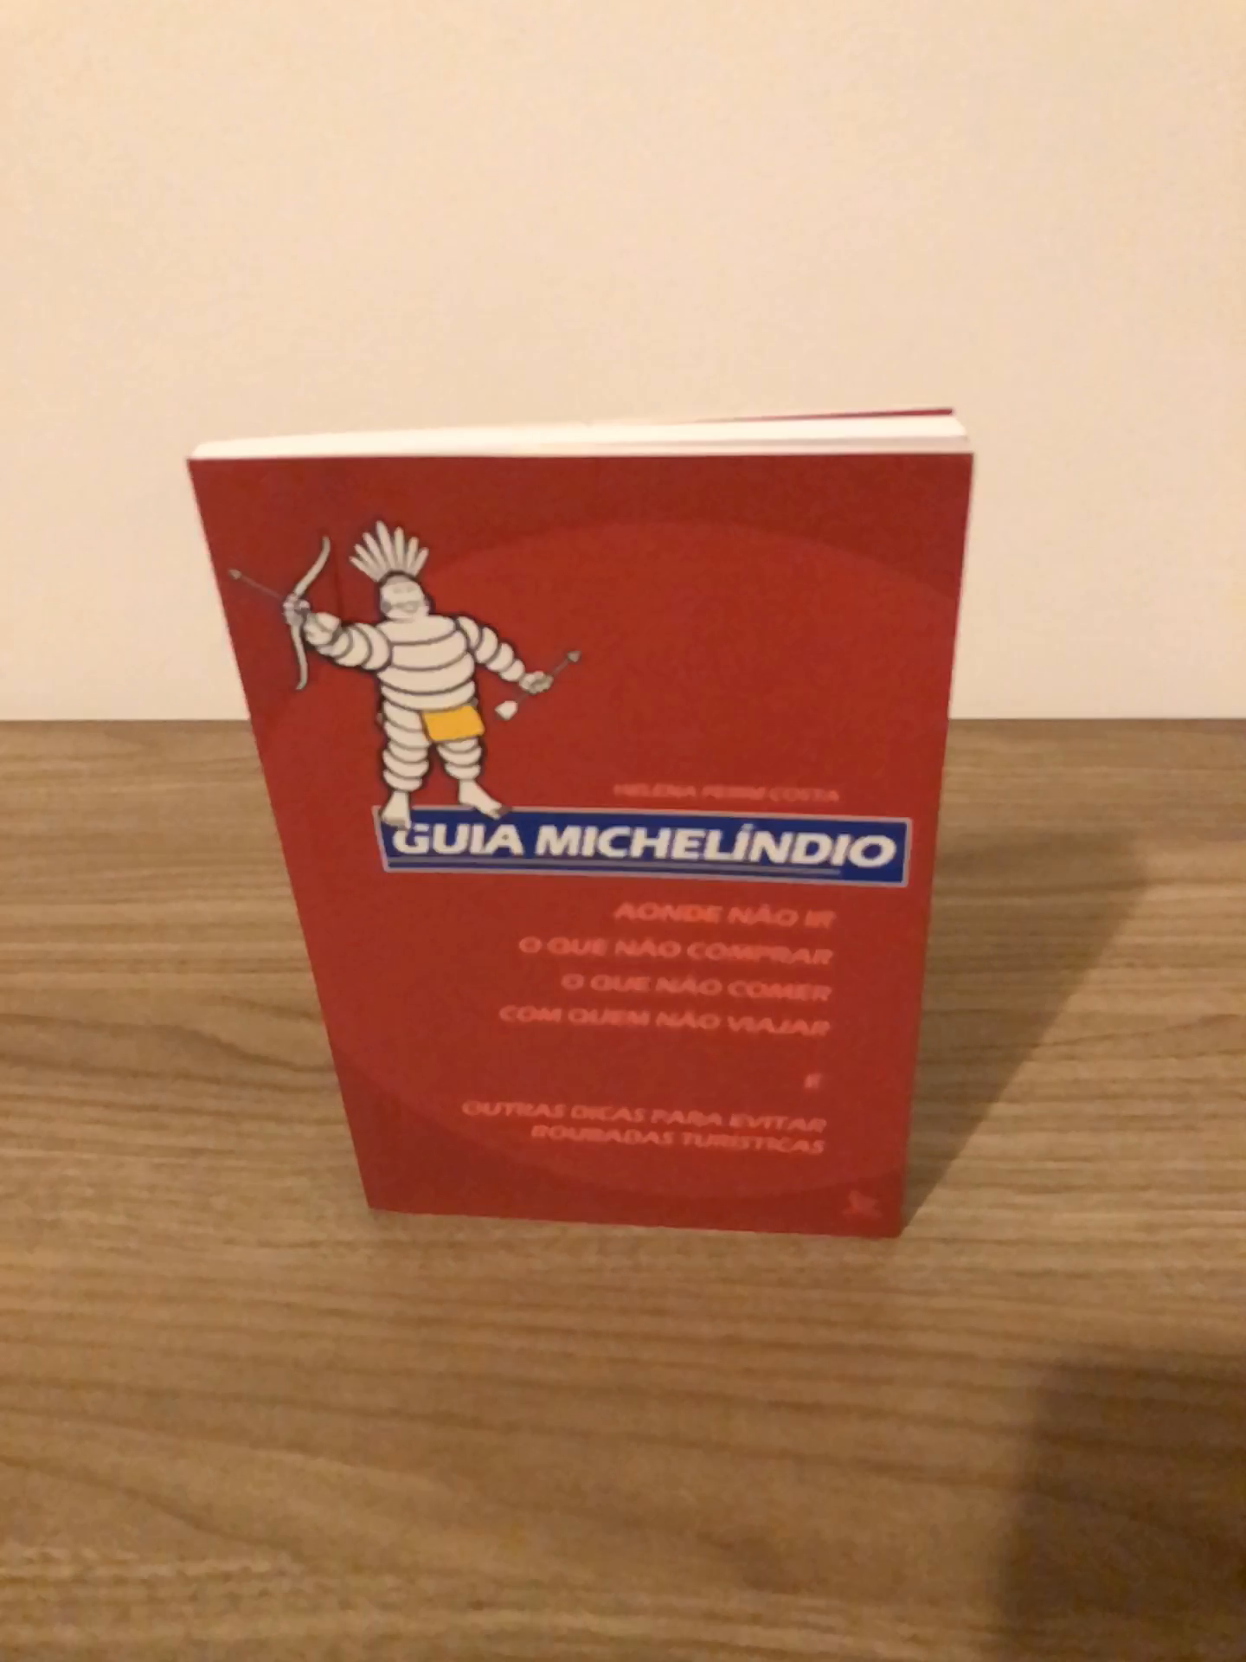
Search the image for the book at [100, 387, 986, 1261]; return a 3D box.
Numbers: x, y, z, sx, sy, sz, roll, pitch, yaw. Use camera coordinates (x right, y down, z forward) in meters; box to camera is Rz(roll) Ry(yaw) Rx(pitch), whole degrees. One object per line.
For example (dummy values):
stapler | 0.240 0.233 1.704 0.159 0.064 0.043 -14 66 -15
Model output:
book | -0.008 0.016 0.300 0.150 0.218 0.020 0 37 6
